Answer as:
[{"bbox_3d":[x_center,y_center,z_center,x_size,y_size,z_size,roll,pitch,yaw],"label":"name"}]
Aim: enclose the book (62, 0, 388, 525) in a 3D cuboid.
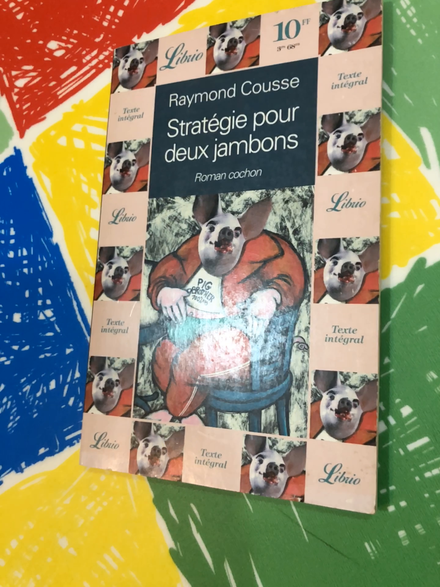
[{"bbox_3d":[0.000,-0.021,0.204,0.130,0.014,0.197,0,83,23],"label":"book"}]
